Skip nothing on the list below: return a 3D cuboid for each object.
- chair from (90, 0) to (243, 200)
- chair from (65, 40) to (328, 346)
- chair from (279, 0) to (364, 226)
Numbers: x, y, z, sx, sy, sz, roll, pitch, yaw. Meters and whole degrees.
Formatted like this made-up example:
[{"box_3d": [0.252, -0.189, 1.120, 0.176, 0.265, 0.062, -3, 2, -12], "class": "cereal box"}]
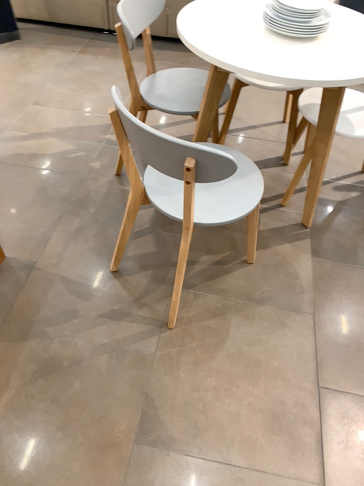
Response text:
[{"box_3d": [-0.056, -0.729, 1.850, 0.540, 0.799, 0.524, 11, 49, 5], "class": "chair"}, {"box_3d": [0.026, -0.159, 1.337, 0.521, 0.799, 0.533, 38, 56, 26], "class": "chair"}, {"box_3d": [0.844, -0.591, 1.767, 0.540, 0.799, 0.524, 12, 49, 6], "class": "chair"}]
